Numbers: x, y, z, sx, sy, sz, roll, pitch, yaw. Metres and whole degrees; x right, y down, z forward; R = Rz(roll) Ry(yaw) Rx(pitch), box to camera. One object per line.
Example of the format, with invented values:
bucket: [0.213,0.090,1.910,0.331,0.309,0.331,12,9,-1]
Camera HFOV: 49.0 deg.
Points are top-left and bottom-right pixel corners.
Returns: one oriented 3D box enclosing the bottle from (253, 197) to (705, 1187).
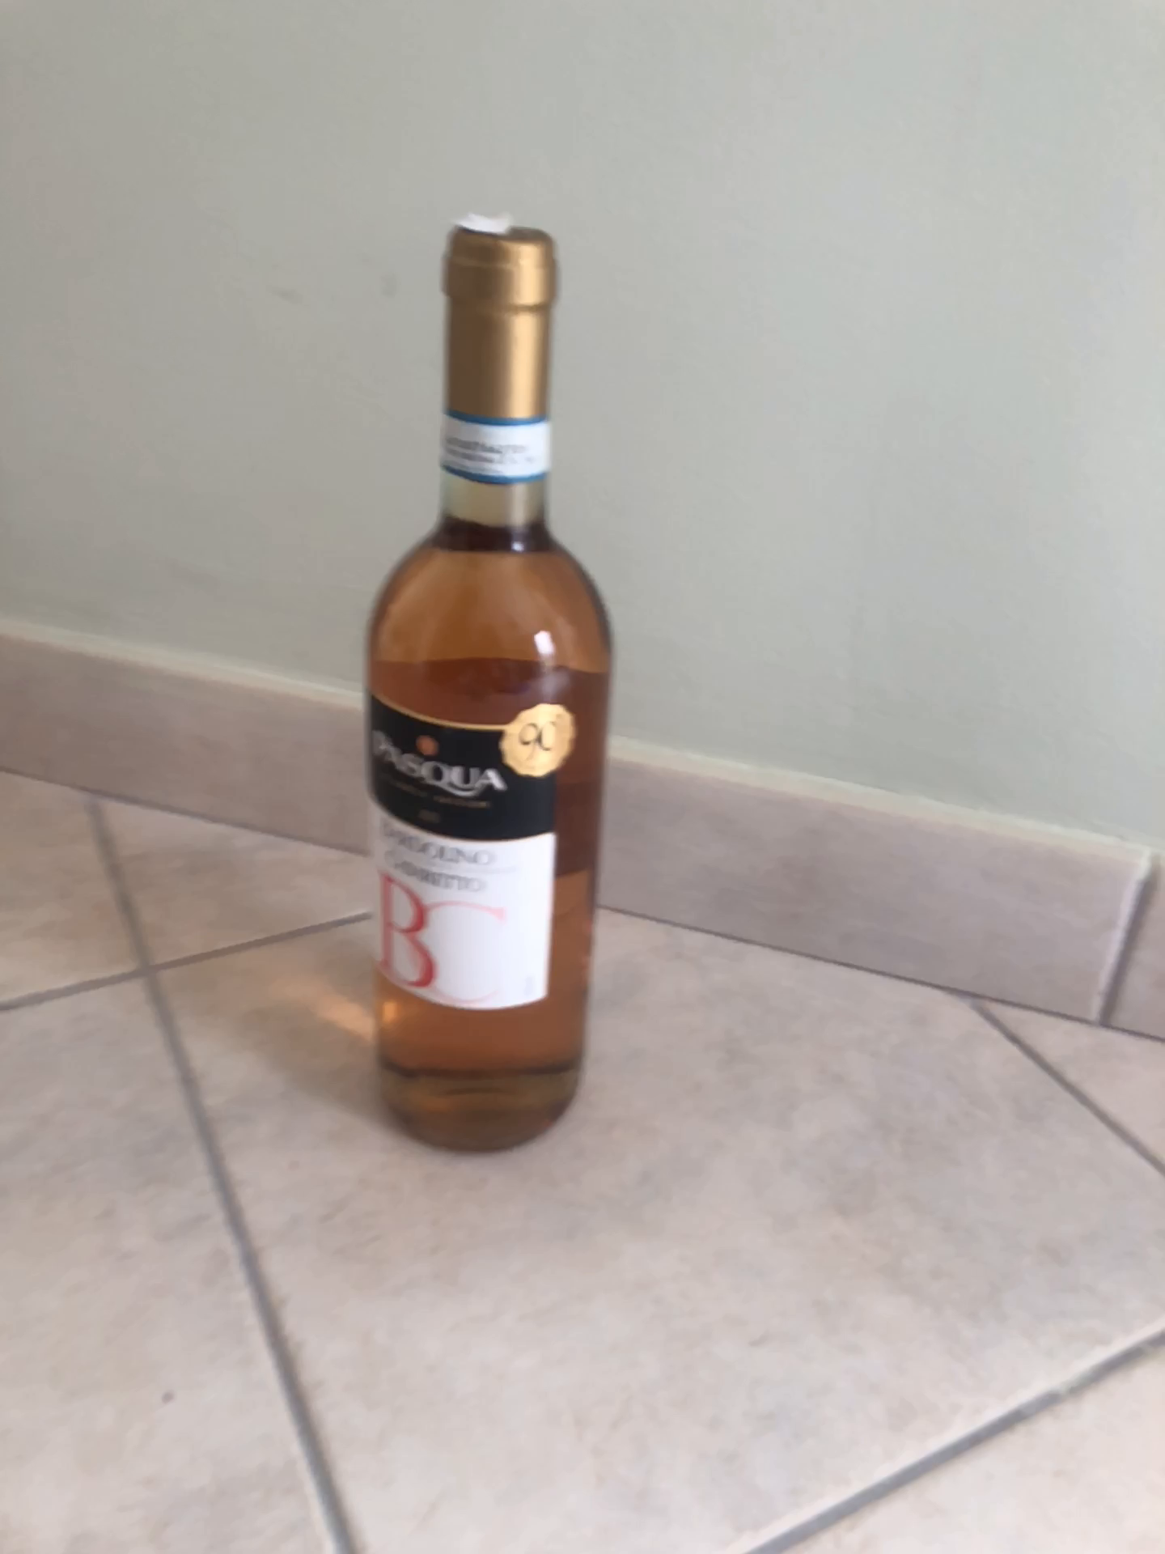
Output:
bottle: [-0.029,-0.017,0.376,0.080,0.268,0.081,3,30,-2]
